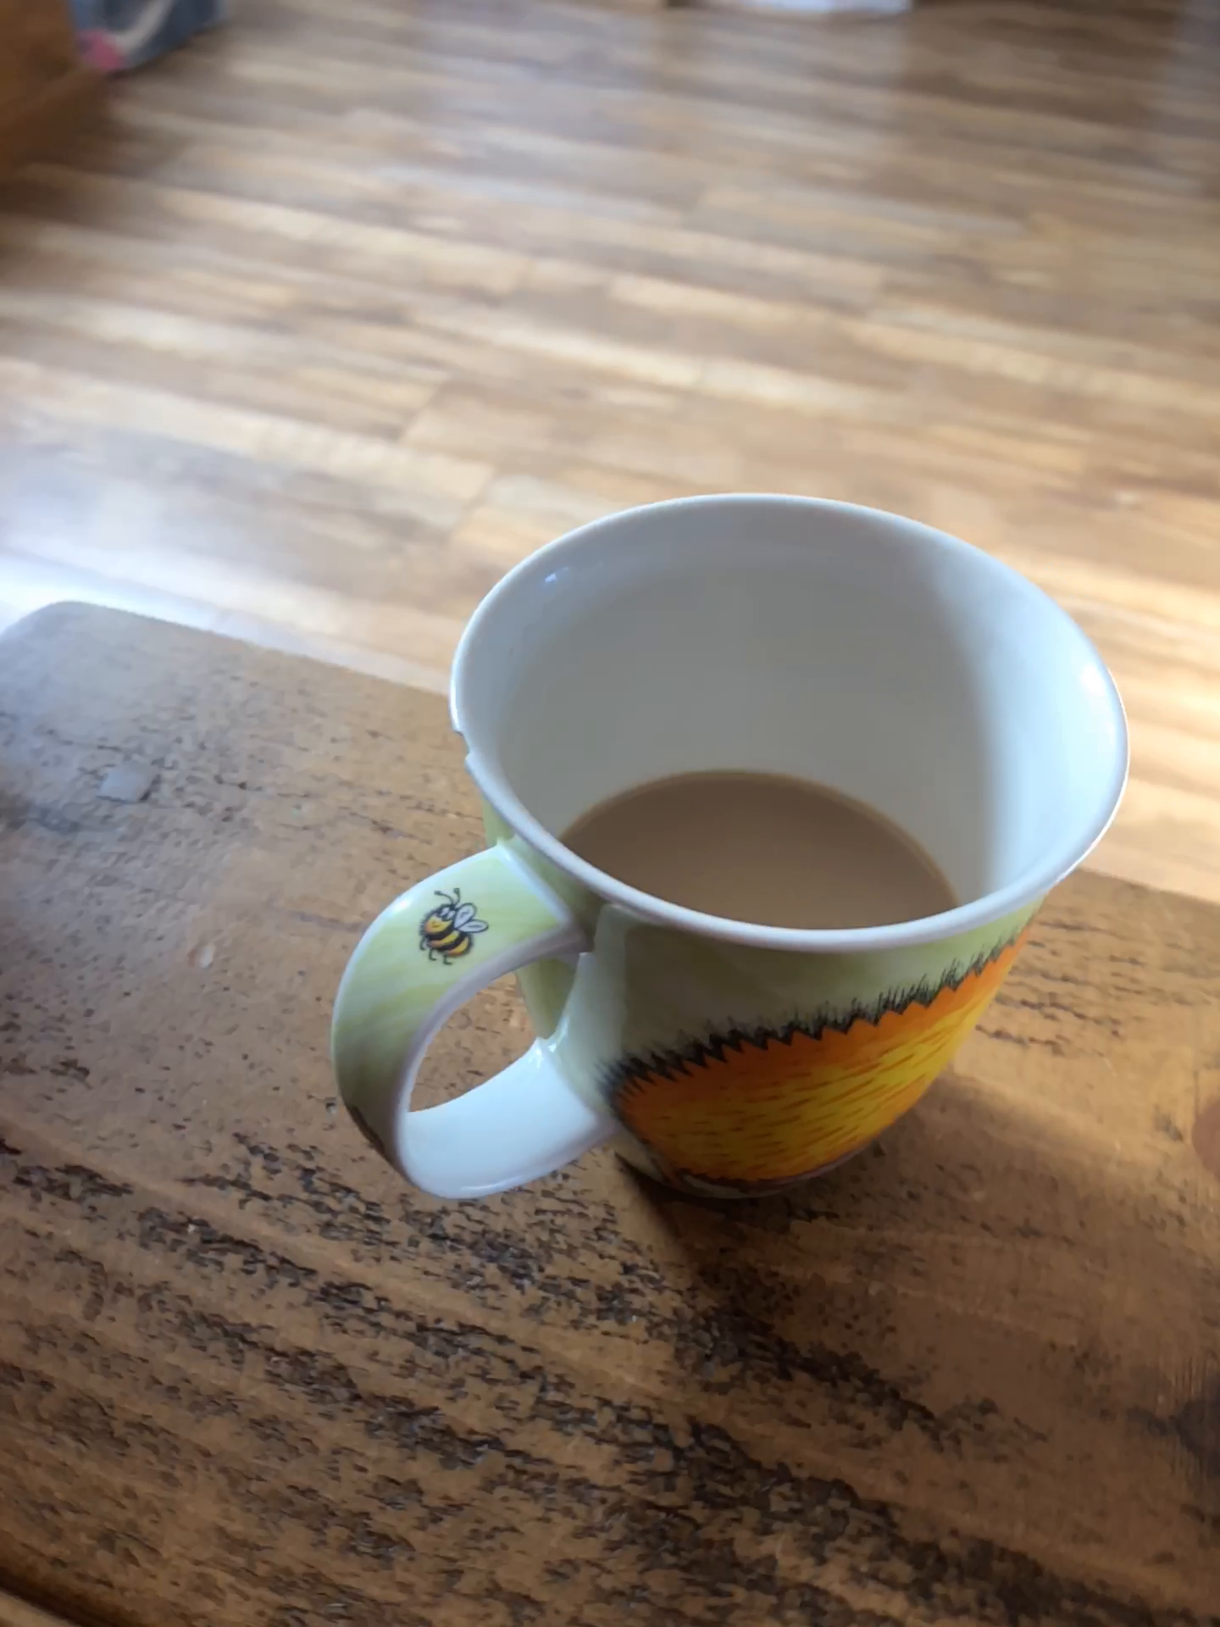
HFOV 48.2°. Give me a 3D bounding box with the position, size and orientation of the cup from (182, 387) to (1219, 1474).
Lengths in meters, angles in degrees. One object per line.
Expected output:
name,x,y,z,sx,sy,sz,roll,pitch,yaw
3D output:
cup,0.020,0.010,0.232,0.128,0.089,0.107,-31,56,-28
